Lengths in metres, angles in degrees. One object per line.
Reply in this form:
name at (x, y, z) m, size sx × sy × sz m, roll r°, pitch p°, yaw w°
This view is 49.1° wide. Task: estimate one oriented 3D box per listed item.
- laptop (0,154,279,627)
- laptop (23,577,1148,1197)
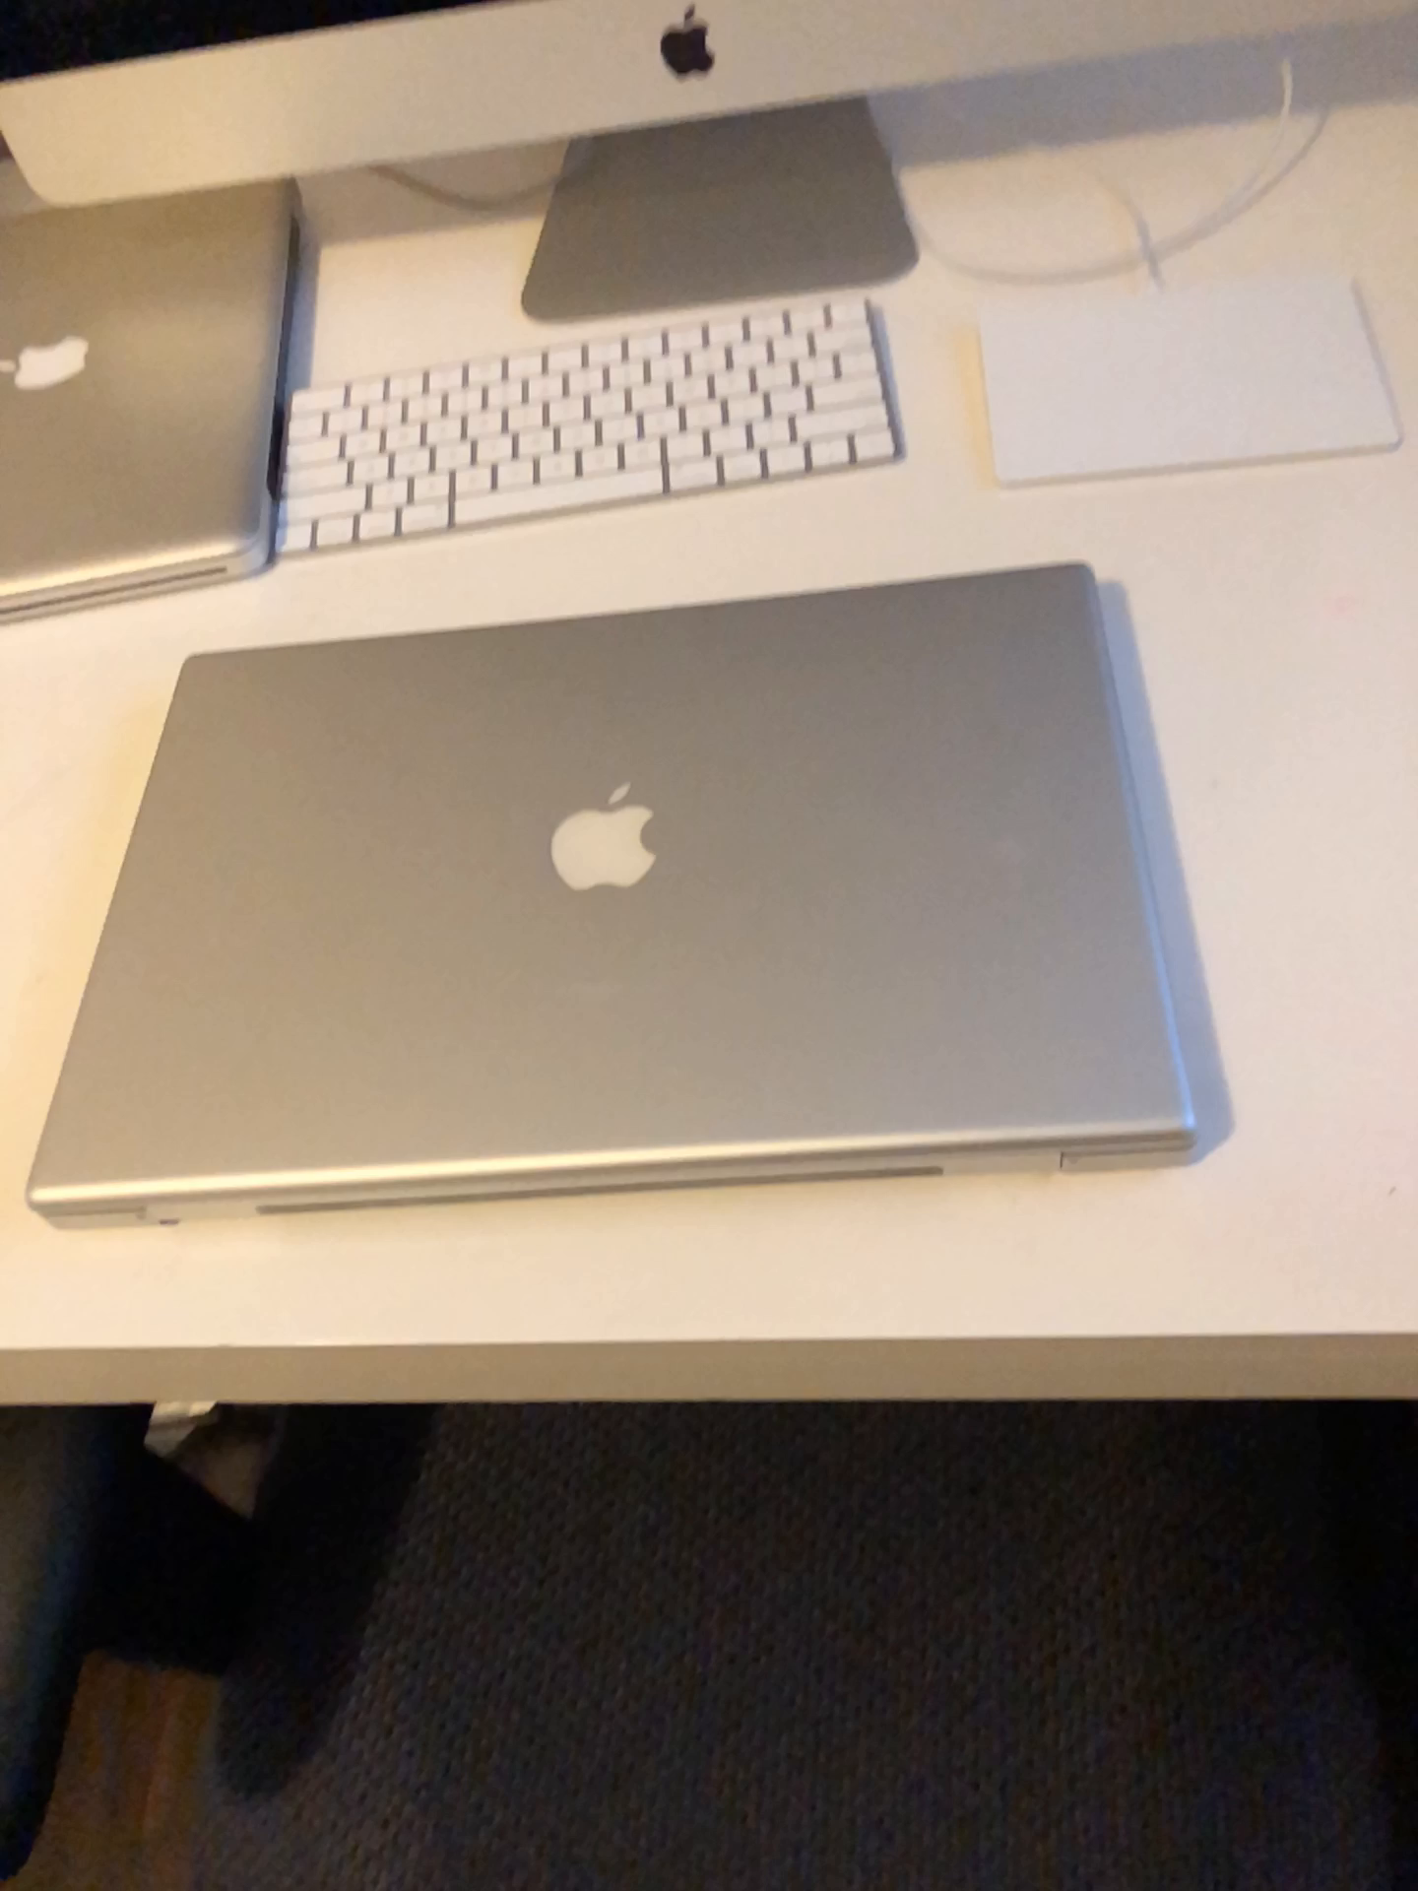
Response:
laptop at (-0.319, -0.273, 0.730) m, size 0.200 × 0.009 × 0.279 m, roll -7°, pitch 56°, yaw 1°
laptop at (-0.039, -0.027, 0.512) m, size 0.332 × 0.005 × 0.215 m, roll -4°, pitch 56°, yaw 7°
